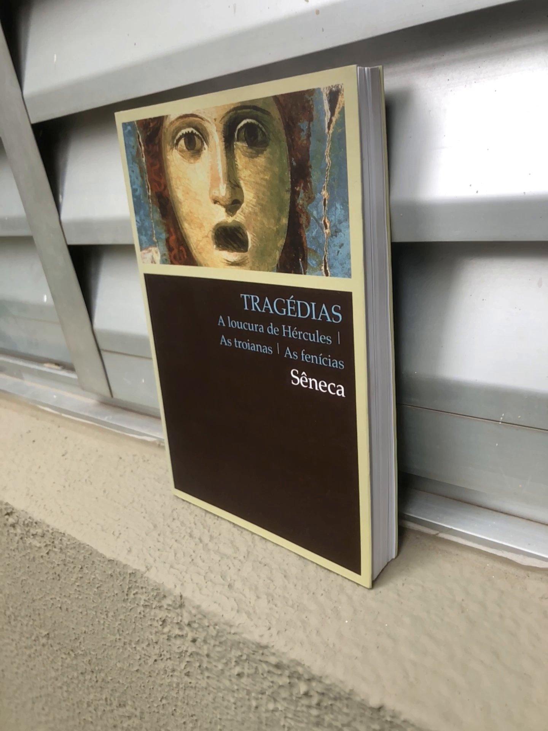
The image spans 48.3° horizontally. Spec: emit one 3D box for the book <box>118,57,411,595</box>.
[{"bbox_3d":[-0.008,-0.017,0.278,0.026,0.197,0.145,-19,21,-41],"label":"book"}]
